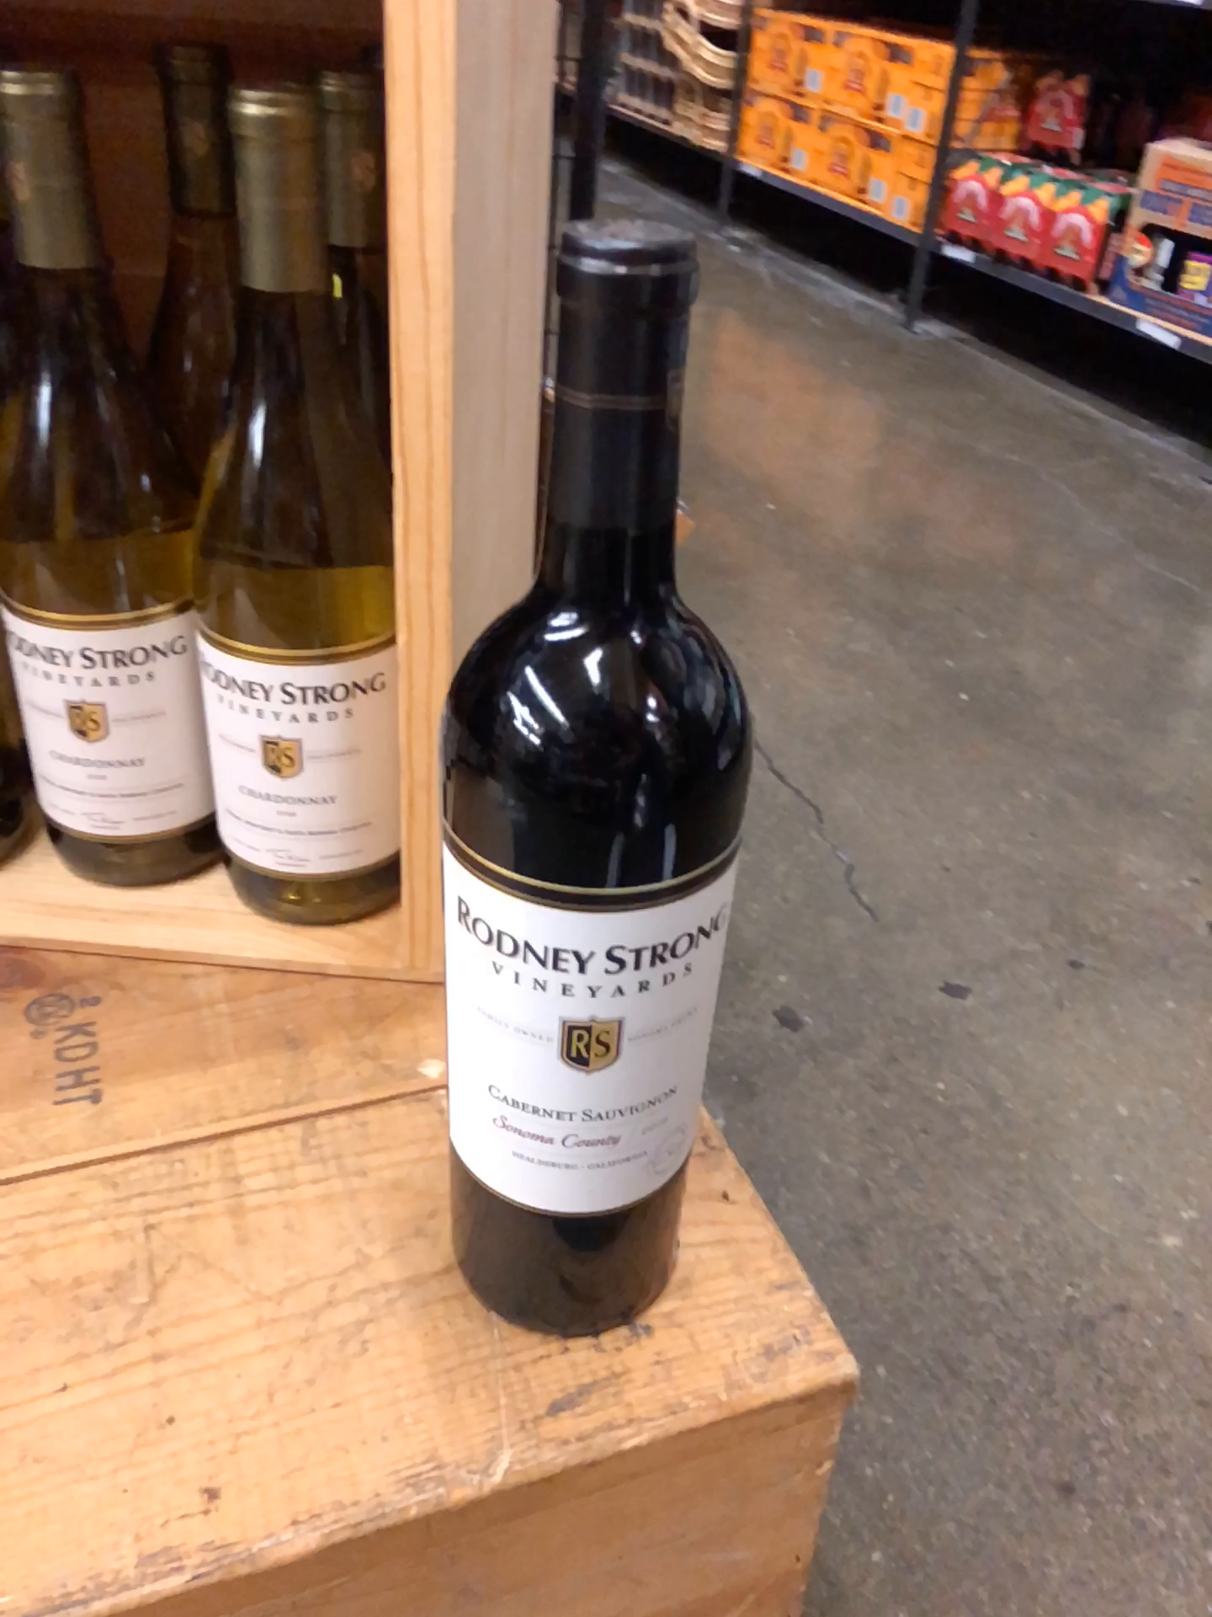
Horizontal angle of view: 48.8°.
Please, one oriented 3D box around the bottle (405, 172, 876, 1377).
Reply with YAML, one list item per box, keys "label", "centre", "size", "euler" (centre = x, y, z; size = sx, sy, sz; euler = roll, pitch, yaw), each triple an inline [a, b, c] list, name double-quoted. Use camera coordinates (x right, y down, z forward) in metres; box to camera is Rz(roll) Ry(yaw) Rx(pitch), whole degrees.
- label: "bottle"
  centre: [-0.005, 0.016, 0.339]
  size: [0.080, 0.309, 0.070]
  euler: [5, 33, -1]
